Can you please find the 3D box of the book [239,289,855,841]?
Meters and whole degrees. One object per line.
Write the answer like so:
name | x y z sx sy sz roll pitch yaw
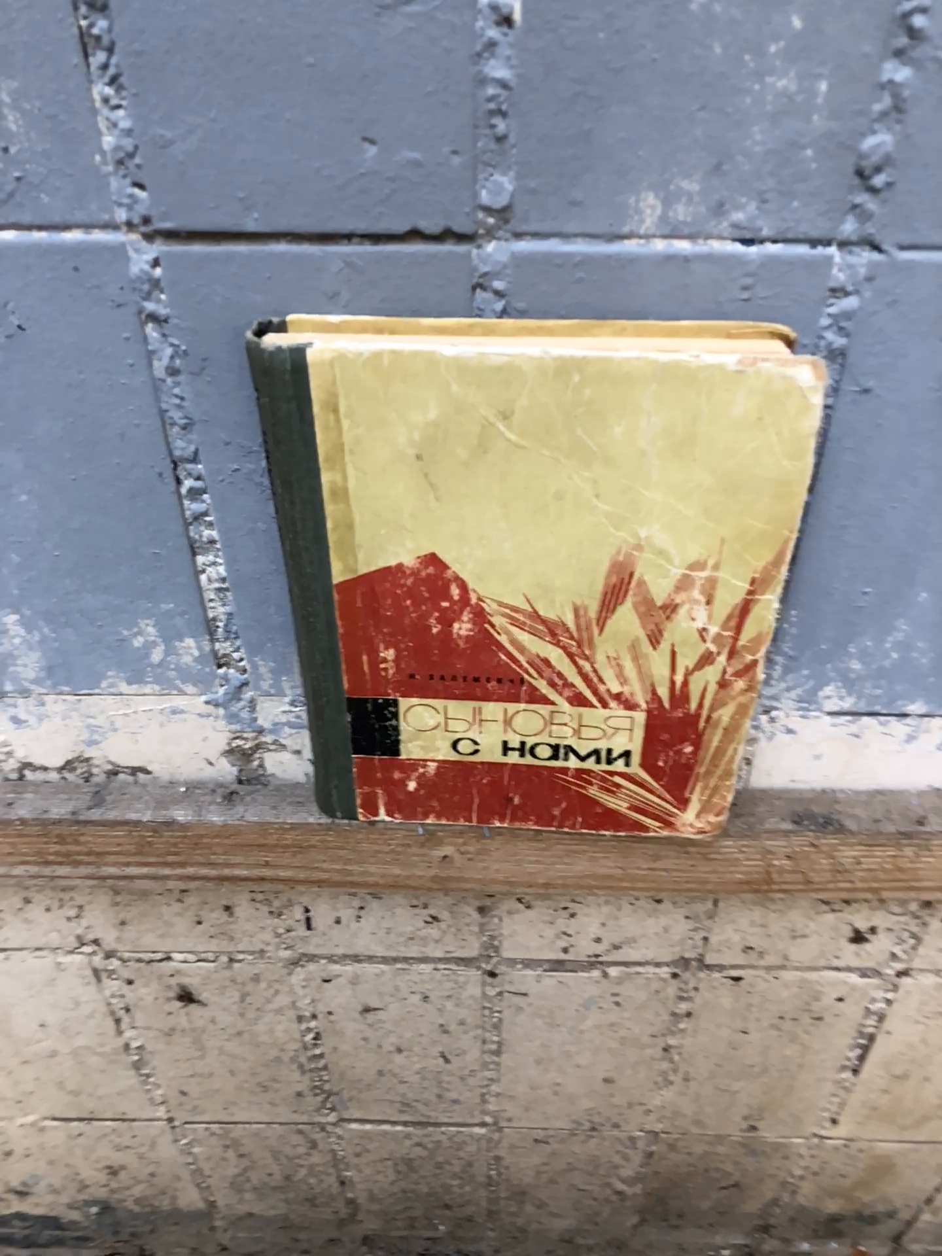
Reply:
book | 0.018 -0.010 0.298 0.140 0.162 0.032 2 37 3
